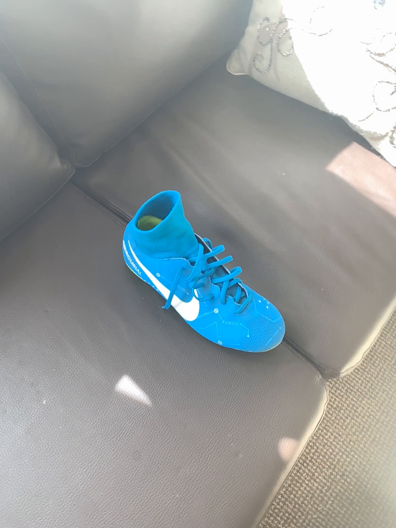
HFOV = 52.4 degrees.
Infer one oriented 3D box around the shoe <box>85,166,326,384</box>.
[{"bbox_3d":[0.002,0.015,0.484,0.250,0.119,0.099,36,69,13],"label":"shoe"}]
